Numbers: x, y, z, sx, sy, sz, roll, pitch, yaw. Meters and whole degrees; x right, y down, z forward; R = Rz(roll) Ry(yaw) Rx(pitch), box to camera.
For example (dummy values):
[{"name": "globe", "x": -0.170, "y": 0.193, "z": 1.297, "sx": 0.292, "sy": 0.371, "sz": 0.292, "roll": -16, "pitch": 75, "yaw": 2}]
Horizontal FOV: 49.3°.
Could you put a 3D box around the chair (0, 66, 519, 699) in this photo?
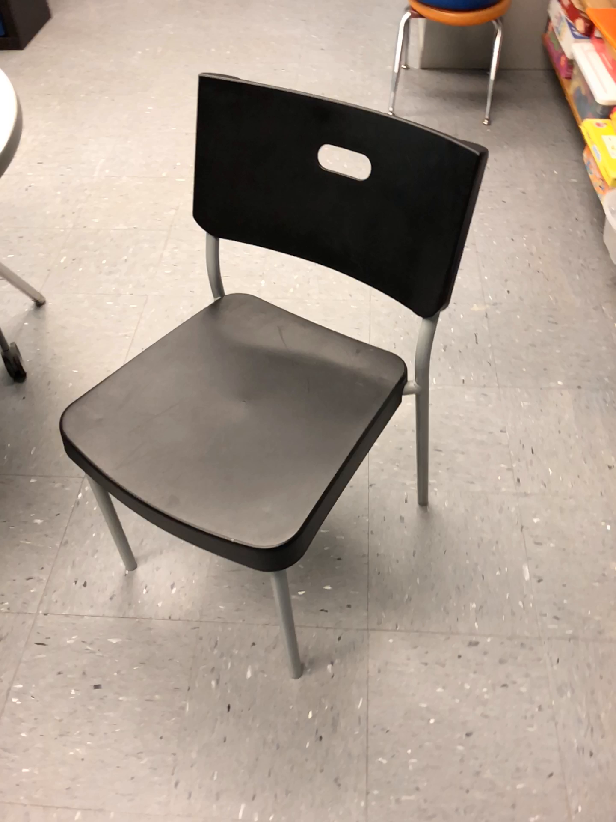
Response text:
[{"name": "chair", "x": -0.055, "y": -0.012, "z": 1.069, "sx": 0.467, "sy": 0.777, "sz": 0.474, "roll": 25, "pitch": 54, "yaw": 22}]
